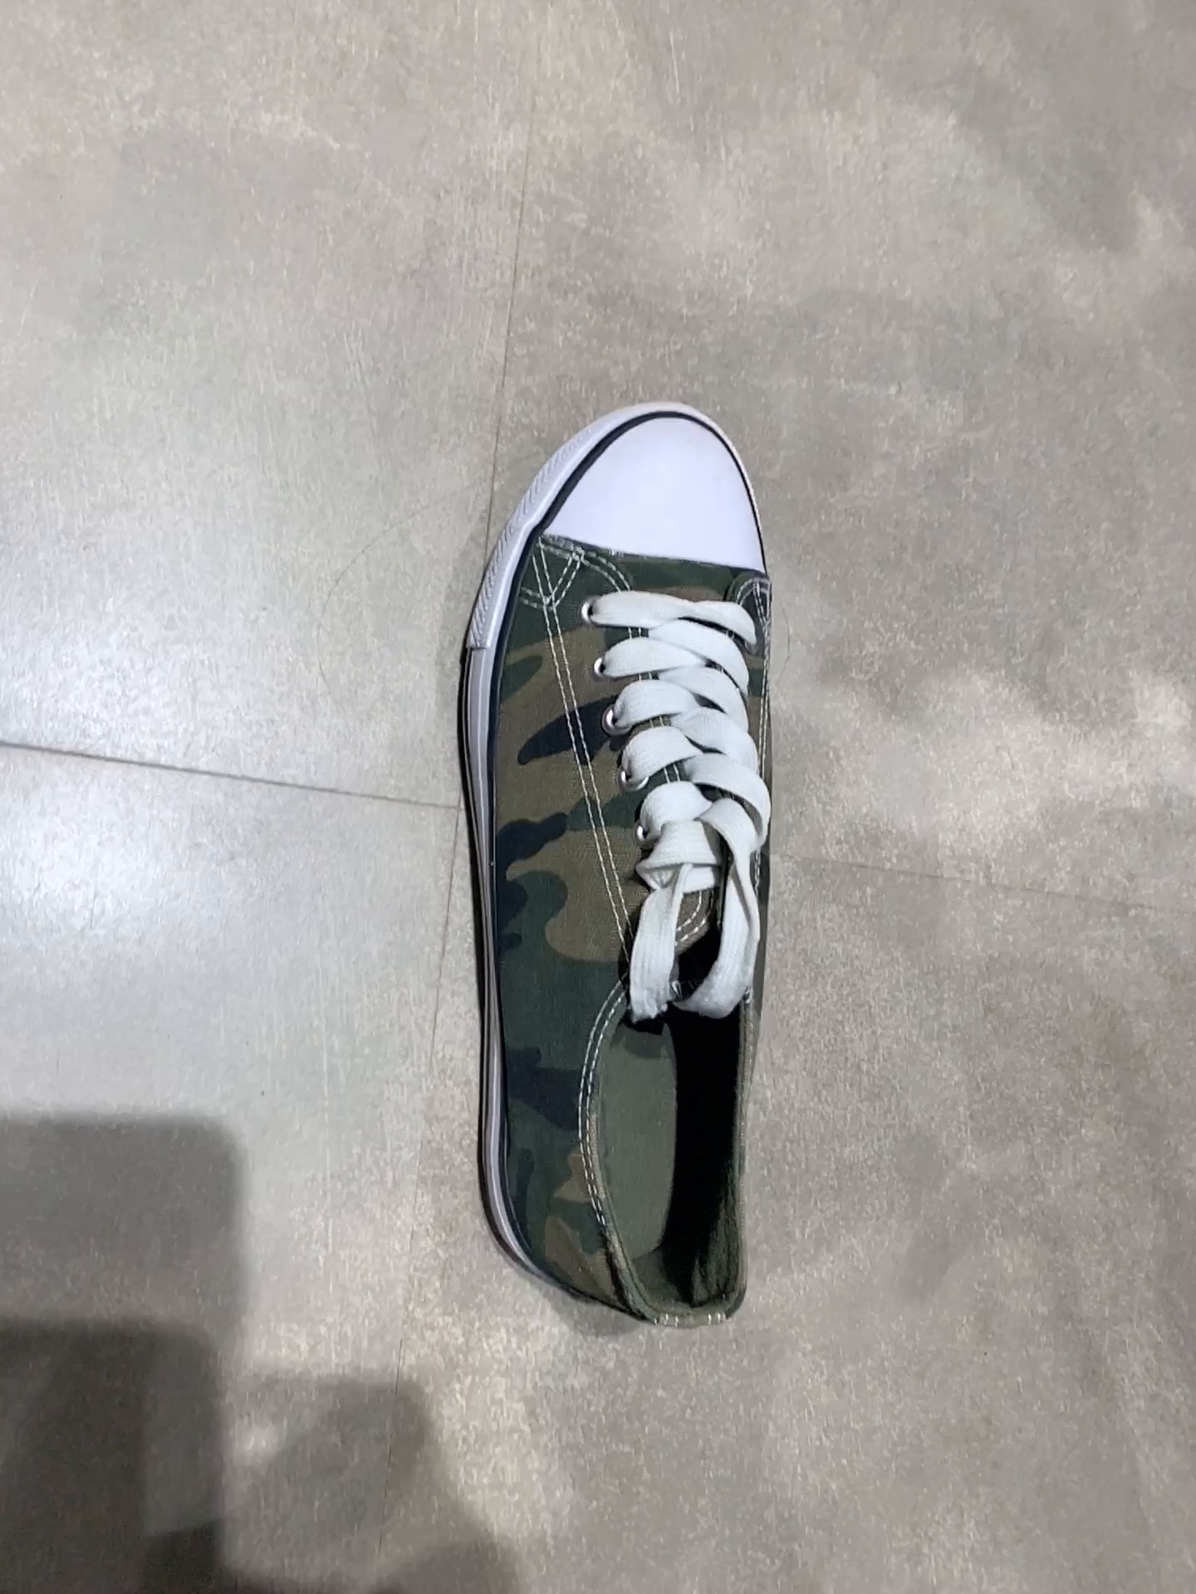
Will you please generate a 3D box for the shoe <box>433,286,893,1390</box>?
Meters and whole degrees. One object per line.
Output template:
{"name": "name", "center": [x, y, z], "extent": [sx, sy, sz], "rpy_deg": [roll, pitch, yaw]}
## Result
{"name": "shoe", "center": [0.014, 0.009, 0.347], "extent": [0.099, 0.079, 0.266], "rpy_deg": [3, 80, -20]}
